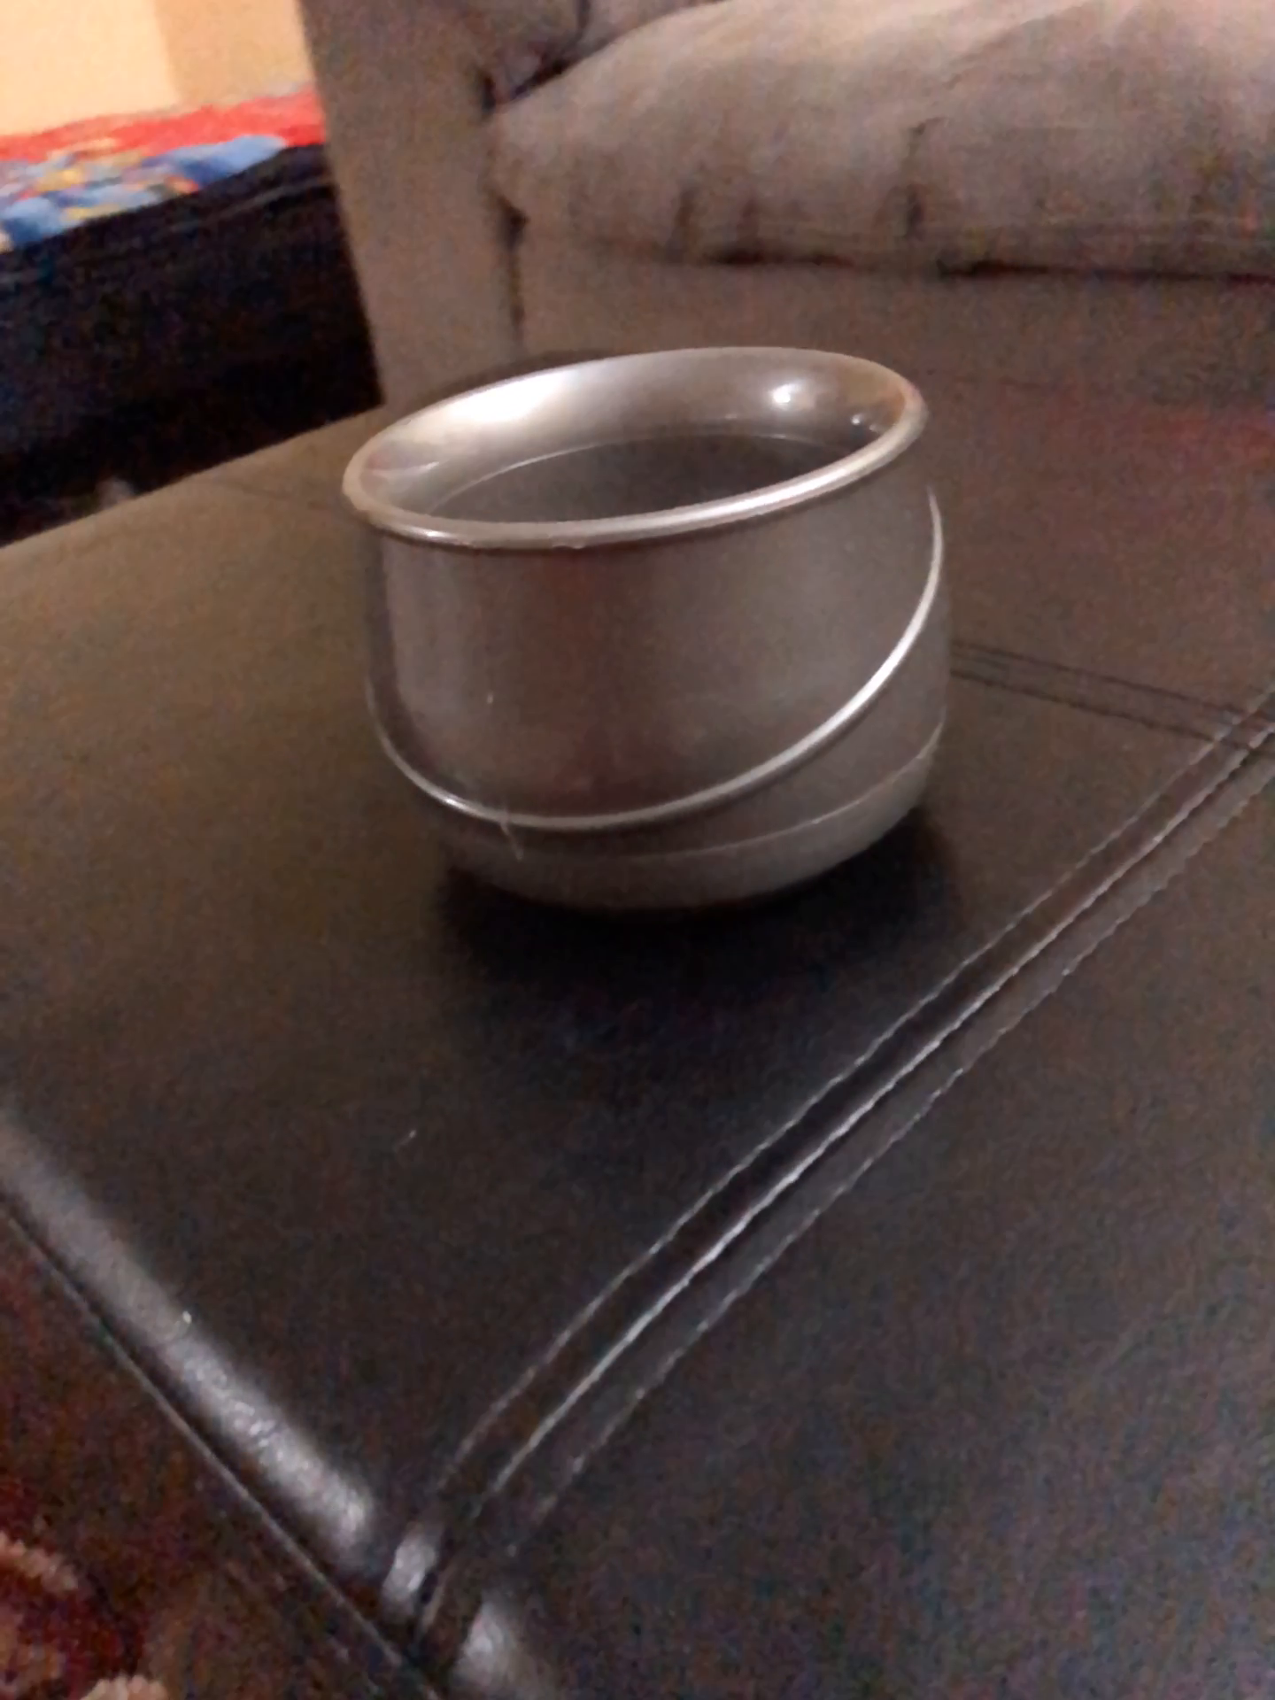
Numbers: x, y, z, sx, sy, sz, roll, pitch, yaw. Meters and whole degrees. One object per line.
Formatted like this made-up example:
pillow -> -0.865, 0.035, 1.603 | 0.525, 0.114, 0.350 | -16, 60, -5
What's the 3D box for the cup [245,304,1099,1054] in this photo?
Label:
cup -> 0.005, -0.034, 0.219 | 0.090, 0.066, 0.084 | -6, 32, 4
